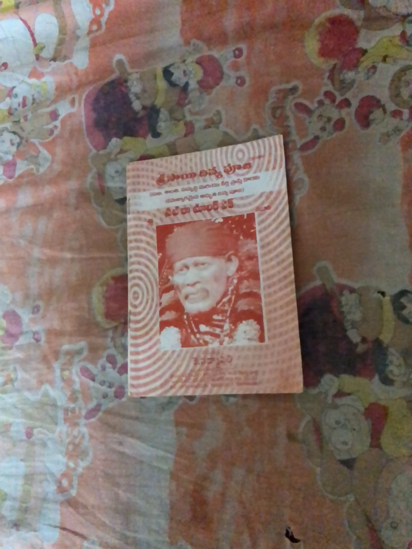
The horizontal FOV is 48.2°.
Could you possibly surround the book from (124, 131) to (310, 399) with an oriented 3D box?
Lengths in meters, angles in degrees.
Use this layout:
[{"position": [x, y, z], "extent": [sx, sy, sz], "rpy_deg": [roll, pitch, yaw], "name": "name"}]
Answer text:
[{"position": [0.002, -0.006, 0.311], "extent": [0.120, 0.010, 0.173], "rpy_deg": [-5, 77, 15], "name": "book"}]
